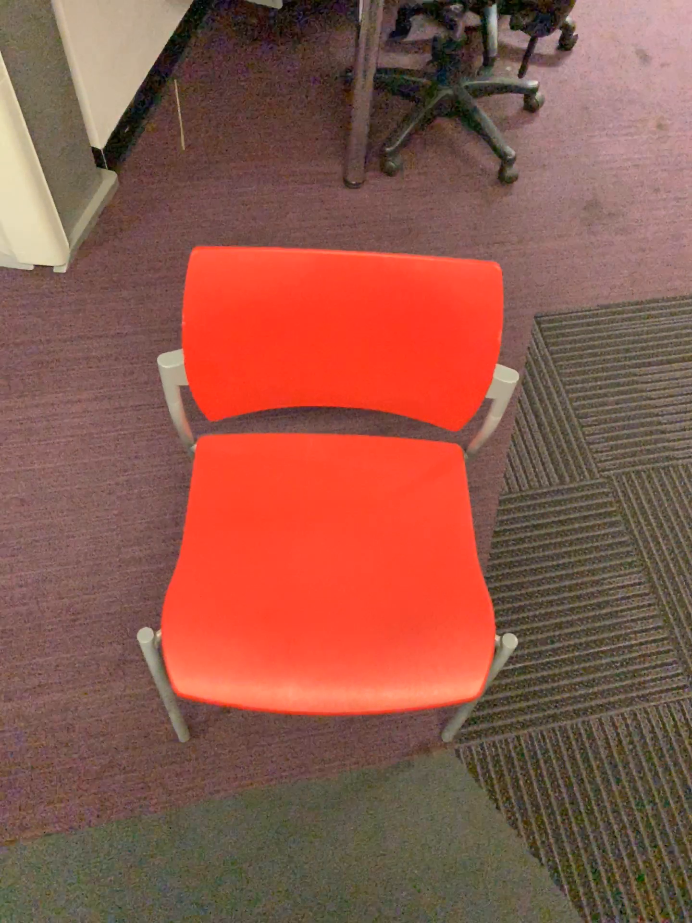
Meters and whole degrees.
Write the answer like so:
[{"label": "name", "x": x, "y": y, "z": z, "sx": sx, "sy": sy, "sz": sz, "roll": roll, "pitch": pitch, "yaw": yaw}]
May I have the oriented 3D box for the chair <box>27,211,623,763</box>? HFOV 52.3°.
[{"label": "chair", "x": -0.011, "y": 0.103, "z": 1.074, "sx": 0.540, "sy": 0.686, "sz": 0.563, "roll": 4, "pitch": 61, "yaw": 0}]
